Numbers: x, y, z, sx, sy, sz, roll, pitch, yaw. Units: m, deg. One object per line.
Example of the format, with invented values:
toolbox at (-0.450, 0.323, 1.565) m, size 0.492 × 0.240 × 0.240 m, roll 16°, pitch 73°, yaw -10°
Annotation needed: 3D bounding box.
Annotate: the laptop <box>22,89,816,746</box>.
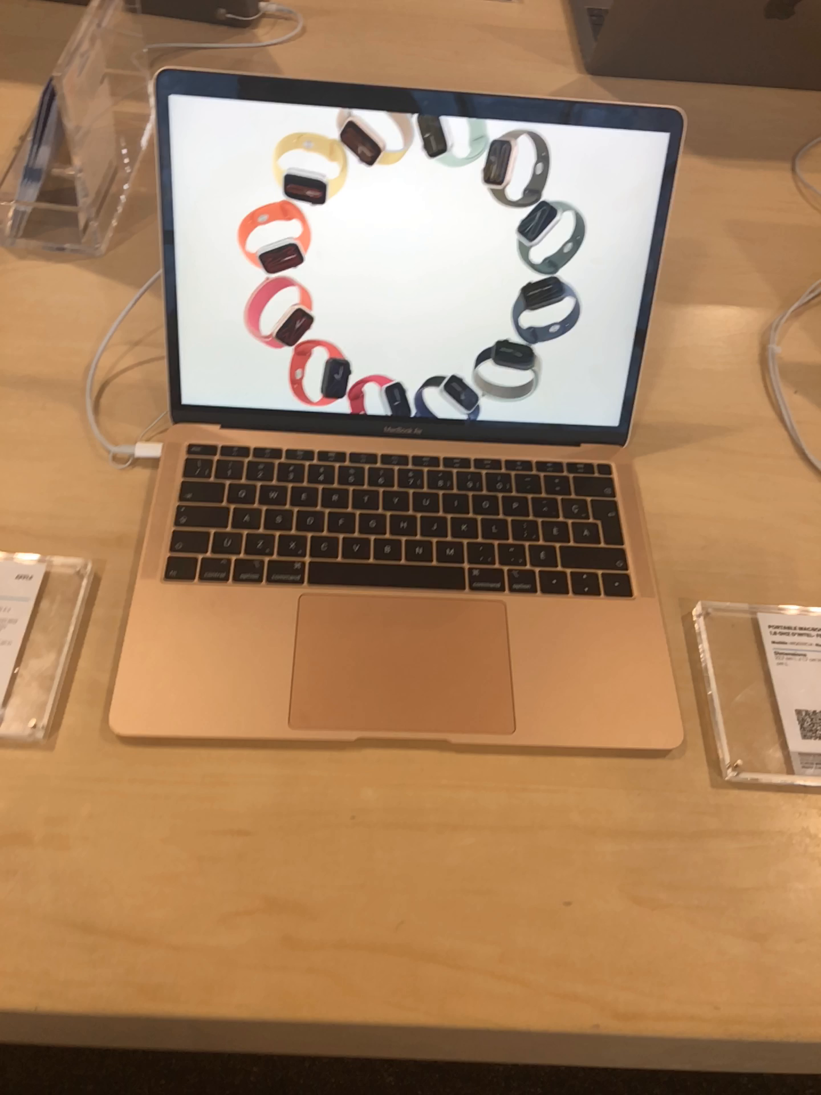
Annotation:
laptop at (0.001, -0.072, 0.483) m, size 0.289 × 0.167 × 0.298 m, roll 3°, pitch 54°, yaw -5°
